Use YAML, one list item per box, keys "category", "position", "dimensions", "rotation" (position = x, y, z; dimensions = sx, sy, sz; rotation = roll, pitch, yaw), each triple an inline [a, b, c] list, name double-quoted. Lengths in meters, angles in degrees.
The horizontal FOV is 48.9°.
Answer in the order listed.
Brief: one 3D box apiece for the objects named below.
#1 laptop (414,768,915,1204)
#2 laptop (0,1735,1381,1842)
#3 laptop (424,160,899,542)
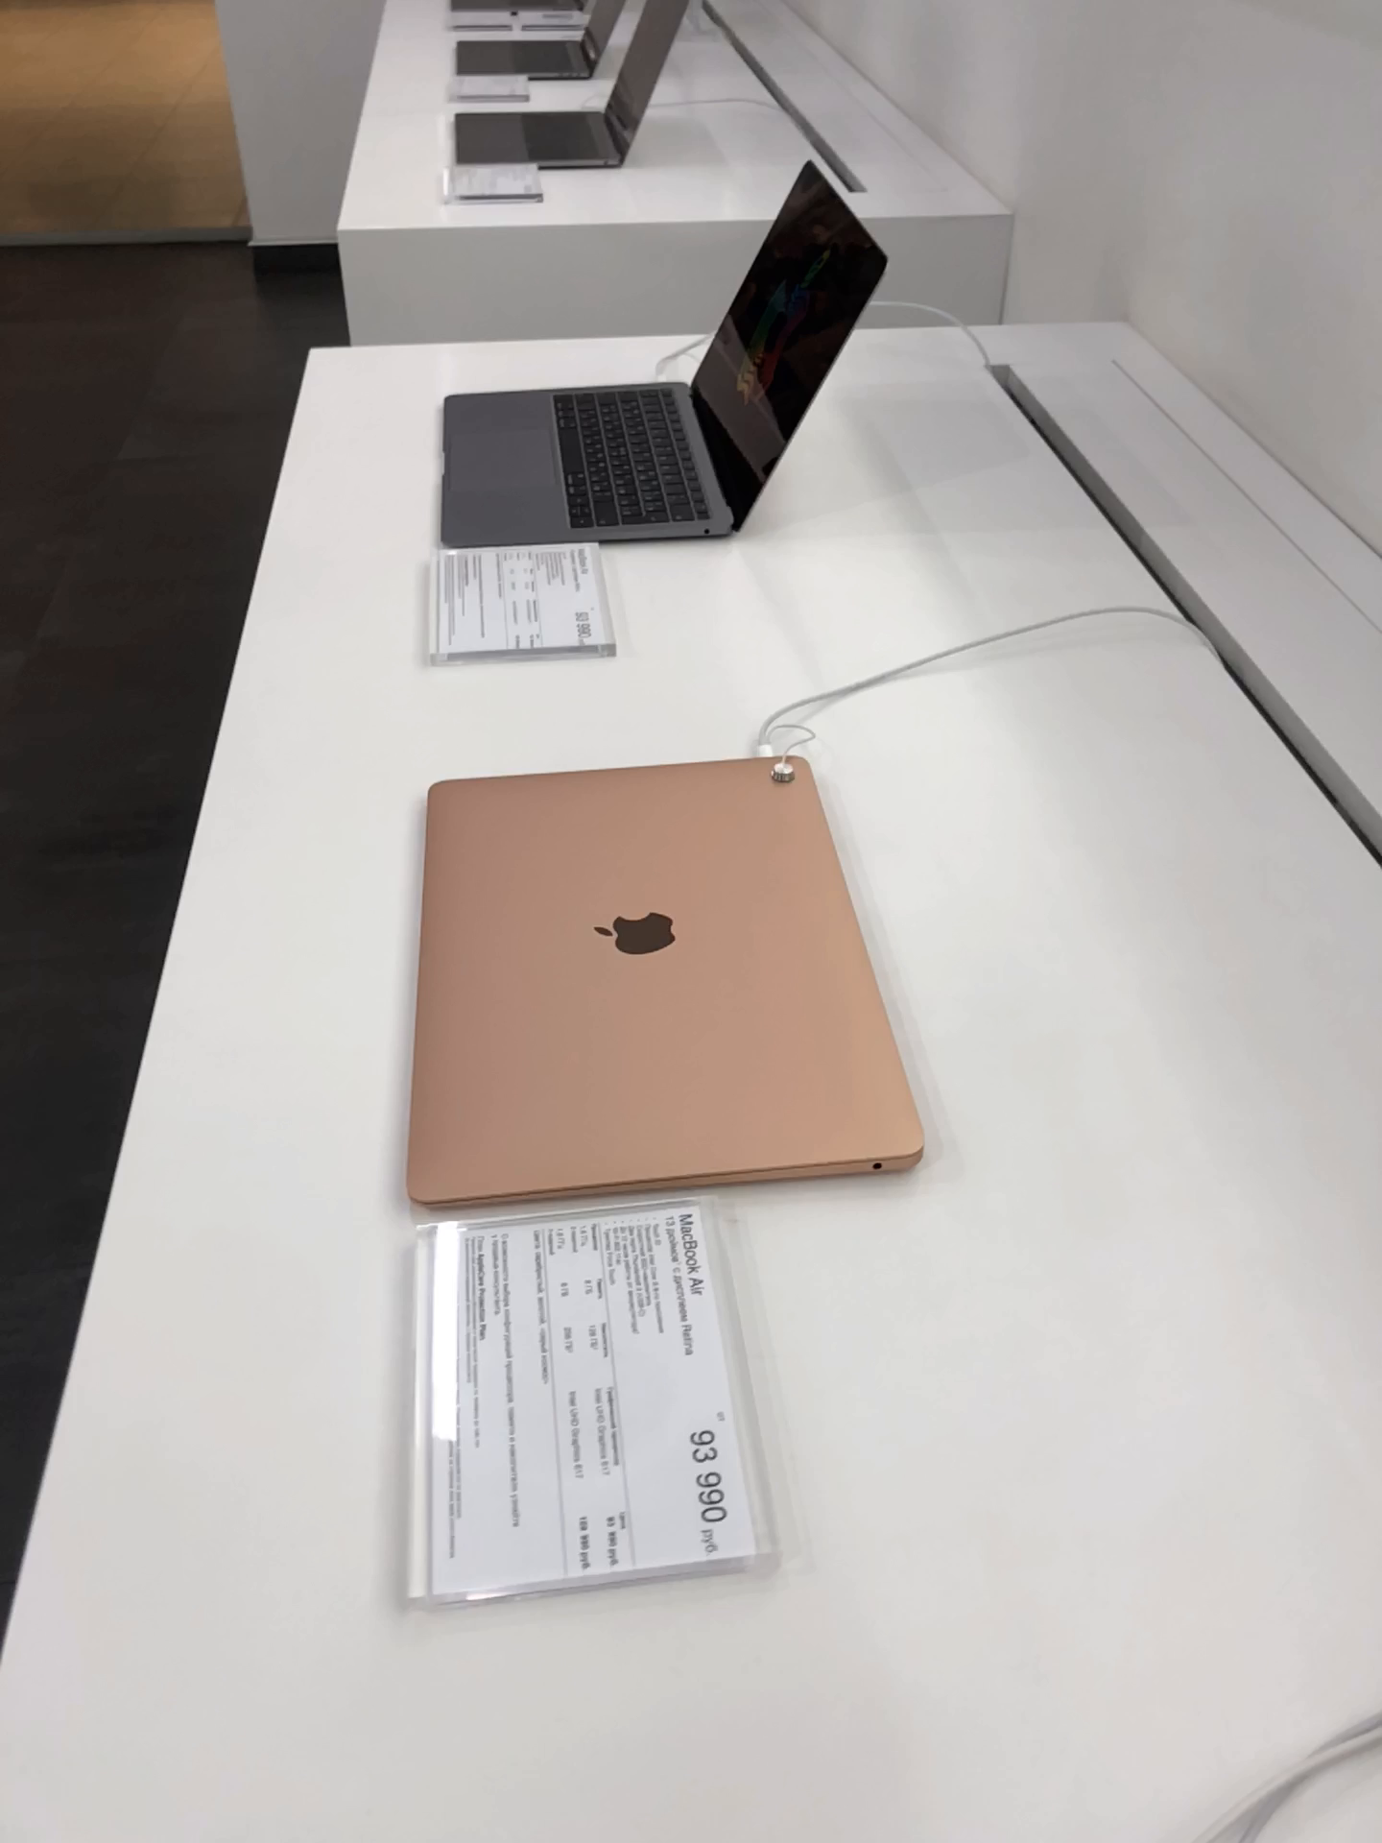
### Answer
- category: "laptop"
  position: [-0.025, 0.013, 0.724]
  dimensions: [0.201, 0.005, 0.295]
  rotation: [-5, 37, -4]
- category: "laptop"
  position: [0.062, 0.330, 0.144]
  dimensions: [0.257, 0.213, 0.347]
  rotation: [-6, 40, -7]
- category: "laptop"
  position: [-0.034, -0.448, 1.168]
  dimensions: [0.311, 0.180, 0.305]
  rotation: [-5, 37, -4]
